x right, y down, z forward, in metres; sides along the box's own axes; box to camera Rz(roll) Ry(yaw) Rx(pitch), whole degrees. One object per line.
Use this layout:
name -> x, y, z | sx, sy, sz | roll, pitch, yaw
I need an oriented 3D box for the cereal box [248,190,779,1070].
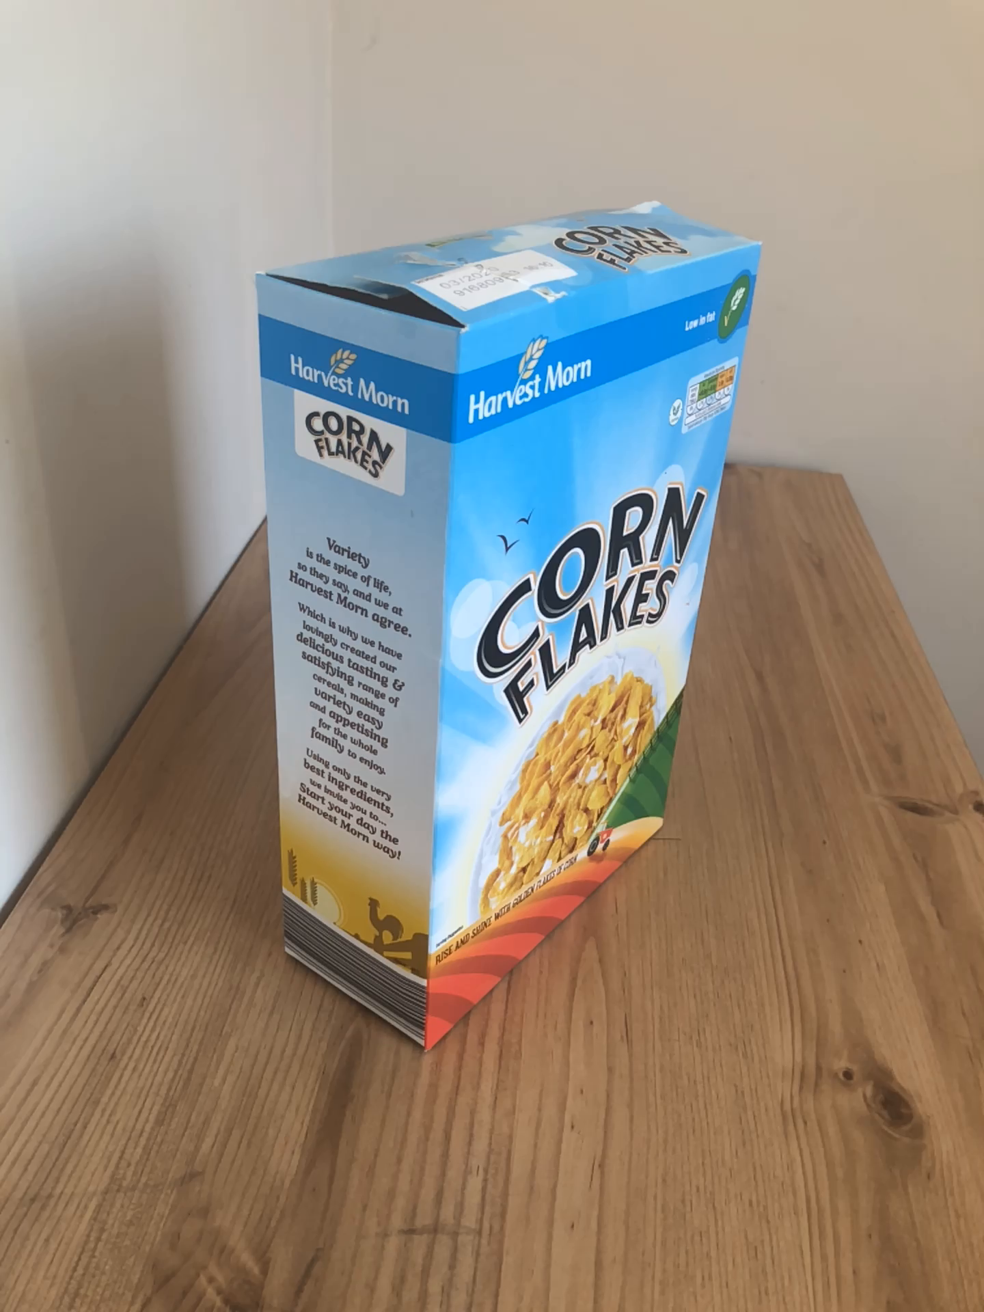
cereal box -> 0.010, -0.015, 0.456 | 0.080, 0.308, 0.201 | 24, 36, 30
